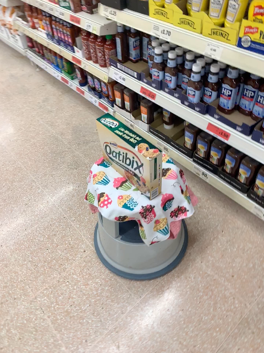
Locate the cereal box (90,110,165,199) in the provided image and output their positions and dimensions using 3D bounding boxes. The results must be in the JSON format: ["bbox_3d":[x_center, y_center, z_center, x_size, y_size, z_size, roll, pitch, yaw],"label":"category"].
[{"bbox_3d":[-0.017,-0.075,0.877,0.060,0.169,0.282,-35,54,-23],"label":"cereal box"}]
